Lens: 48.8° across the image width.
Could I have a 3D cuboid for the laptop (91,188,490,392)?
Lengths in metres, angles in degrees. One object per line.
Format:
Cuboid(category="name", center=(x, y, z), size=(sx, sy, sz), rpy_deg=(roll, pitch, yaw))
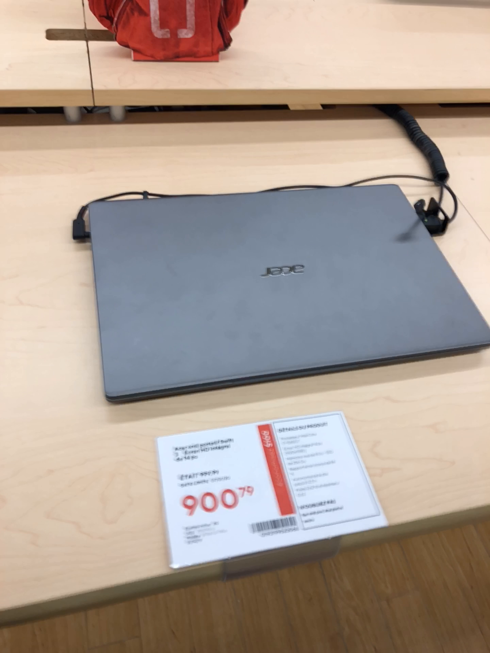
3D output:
Cuboid(category="laptop", center=(0.032, -0.049, 0.466), size=(0.307, 0.001, 0.201), rpy_deg=(-6, 52, -14))
